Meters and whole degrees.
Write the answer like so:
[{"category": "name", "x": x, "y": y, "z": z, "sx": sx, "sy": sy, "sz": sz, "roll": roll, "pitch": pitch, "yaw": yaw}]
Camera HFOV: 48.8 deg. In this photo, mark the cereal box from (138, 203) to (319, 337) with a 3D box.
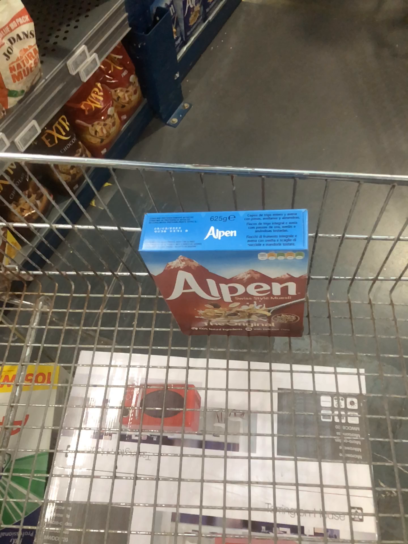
[{"category": "cereal box", "x": 0.038, "y": 0.010, "z": 0.555, "sx": 0.180, "sy": 0.219, "sz": 0.060, "roll": 0, "pitch": 60, "yaw": 8}]
